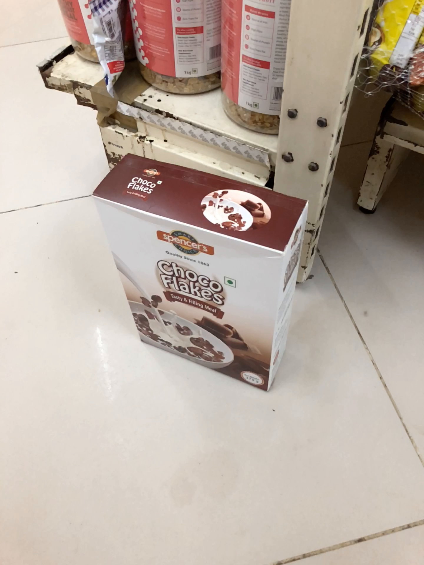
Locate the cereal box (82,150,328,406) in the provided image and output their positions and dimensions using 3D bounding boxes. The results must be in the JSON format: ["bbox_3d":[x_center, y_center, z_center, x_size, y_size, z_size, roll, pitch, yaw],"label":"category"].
[{"bbox_3d":[-0.001,0.012,0.476,0.190,0.259,0.060,19,56,18],"label":"cereal box"}]
